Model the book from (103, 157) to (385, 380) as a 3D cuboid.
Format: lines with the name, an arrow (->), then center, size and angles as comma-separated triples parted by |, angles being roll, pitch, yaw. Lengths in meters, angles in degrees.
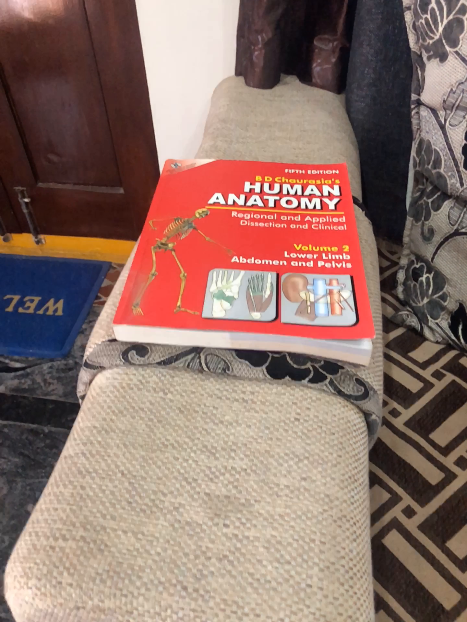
book -> 0.018, -0.064, 0.518 | 0.220, 0.040, 0.291 | 2, 45, 4
